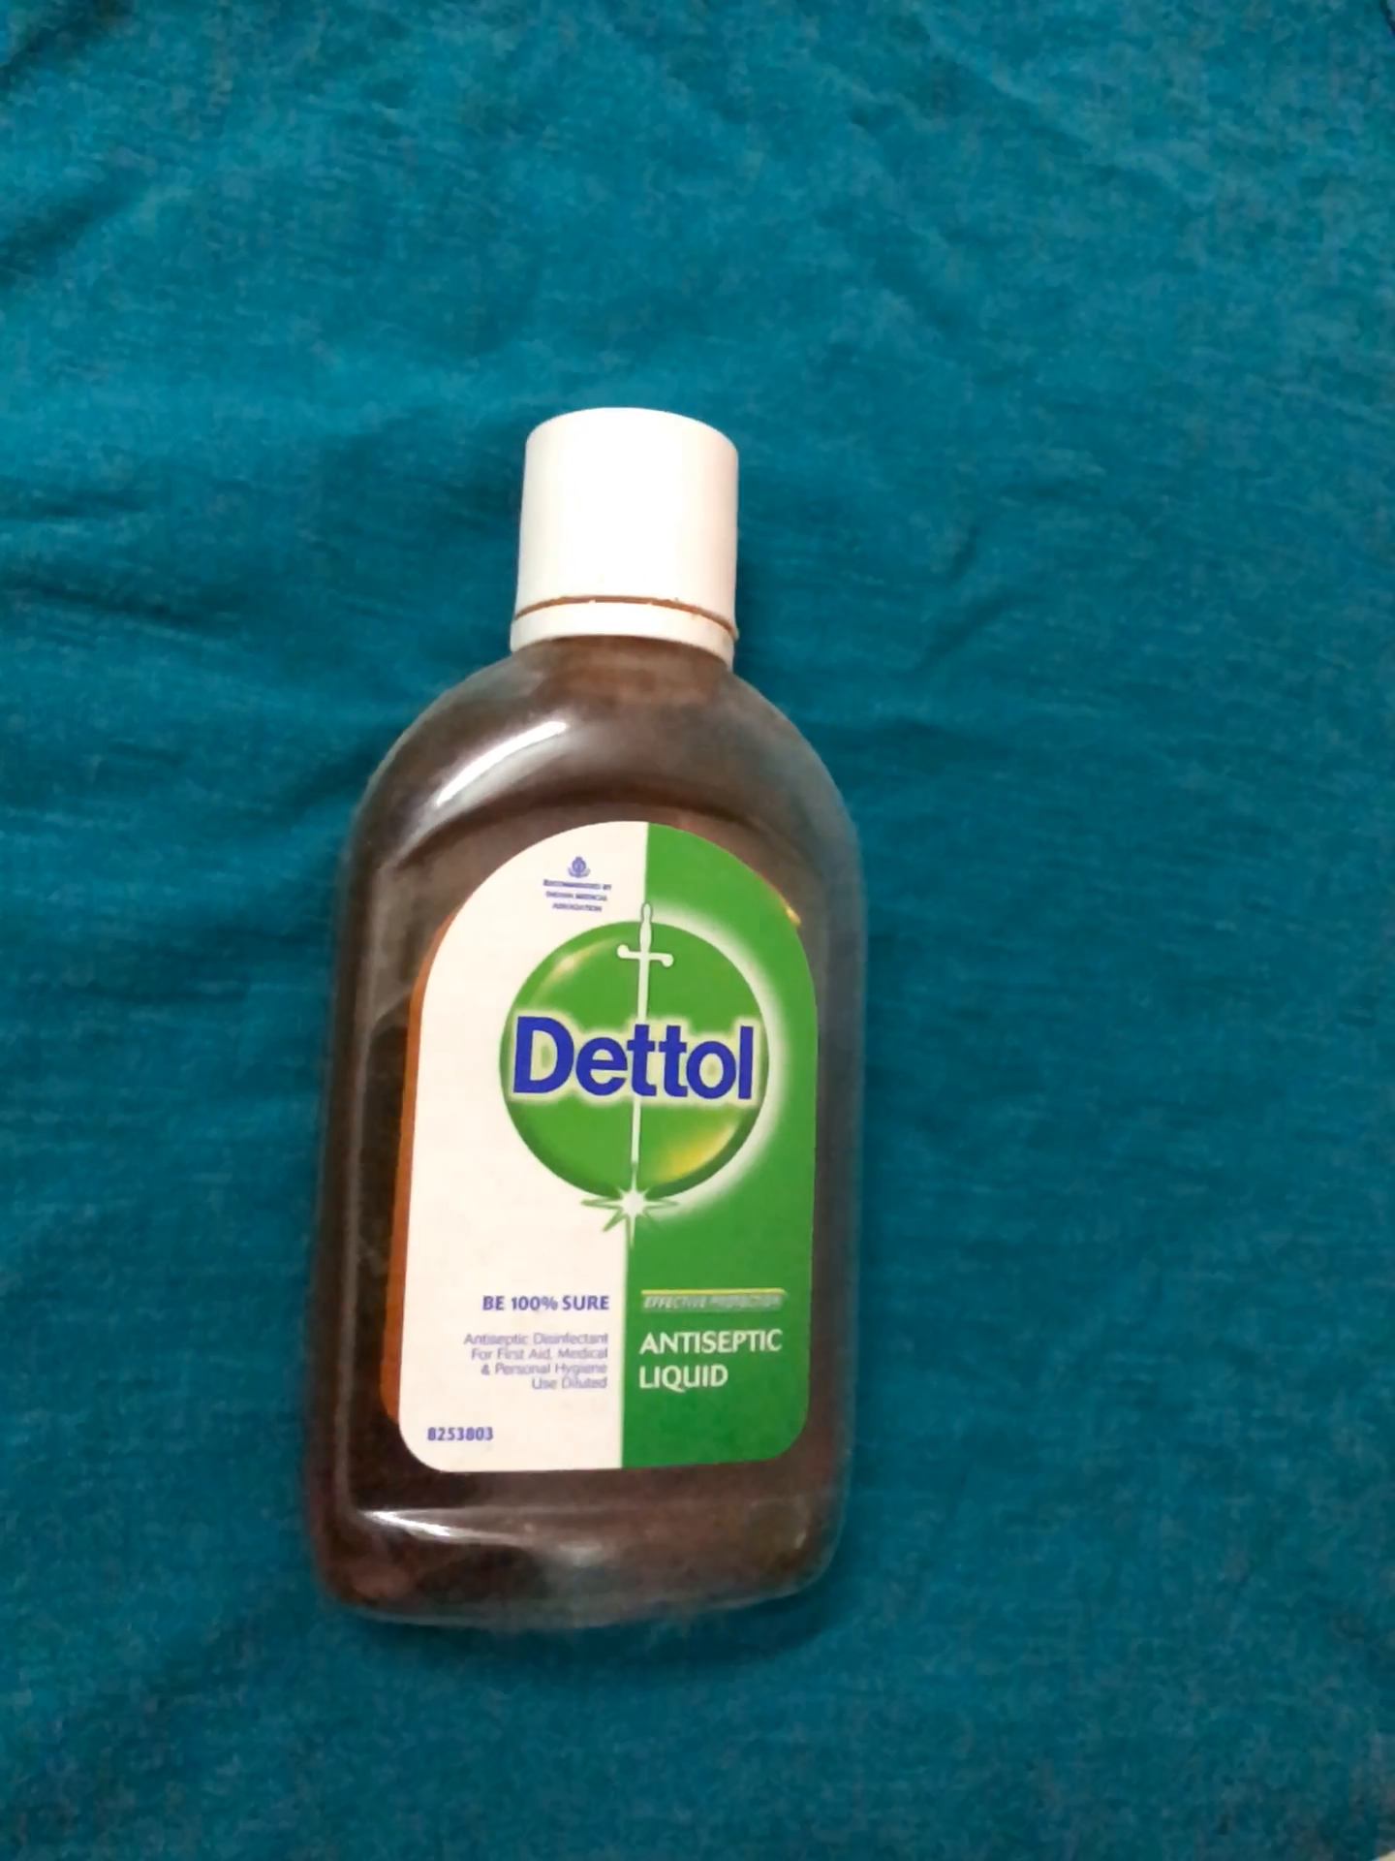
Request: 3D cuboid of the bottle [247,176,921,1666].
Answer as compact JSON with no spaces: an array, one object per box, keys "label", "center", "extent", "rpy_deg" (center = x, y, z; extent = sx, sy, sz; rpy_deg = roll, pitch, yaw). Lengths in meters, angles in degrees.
[{"label":"bottle","center":[-0.014,-0.002,0.221],"extent":[0.080,0.040,0.180],"rpy_deg":[5,81,-23]}]
